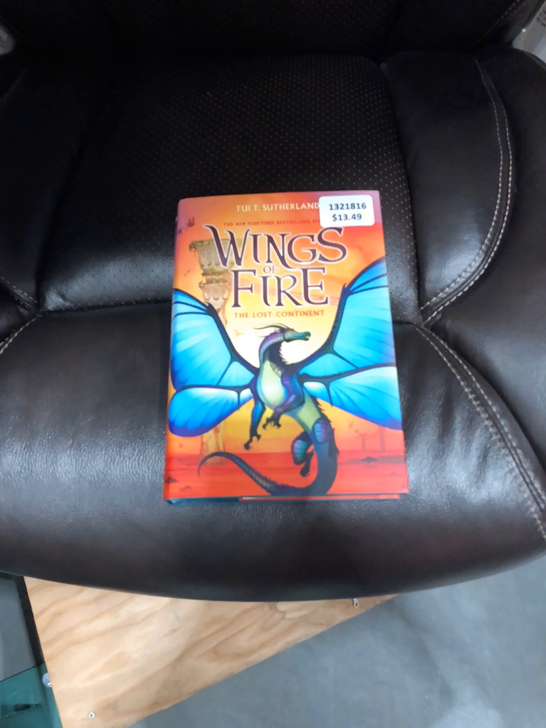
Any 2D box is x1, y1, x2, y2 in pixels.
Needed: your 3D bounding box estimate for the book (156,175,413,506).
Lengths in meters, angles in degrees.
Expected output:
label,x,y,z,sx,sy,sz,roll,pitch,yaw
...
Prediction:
label,x,y,z,sx,sy,sz,roll,pitch,yaw
book,0.005,-0.021,0.395,0.148,0.030,0.218,-2,70,2
